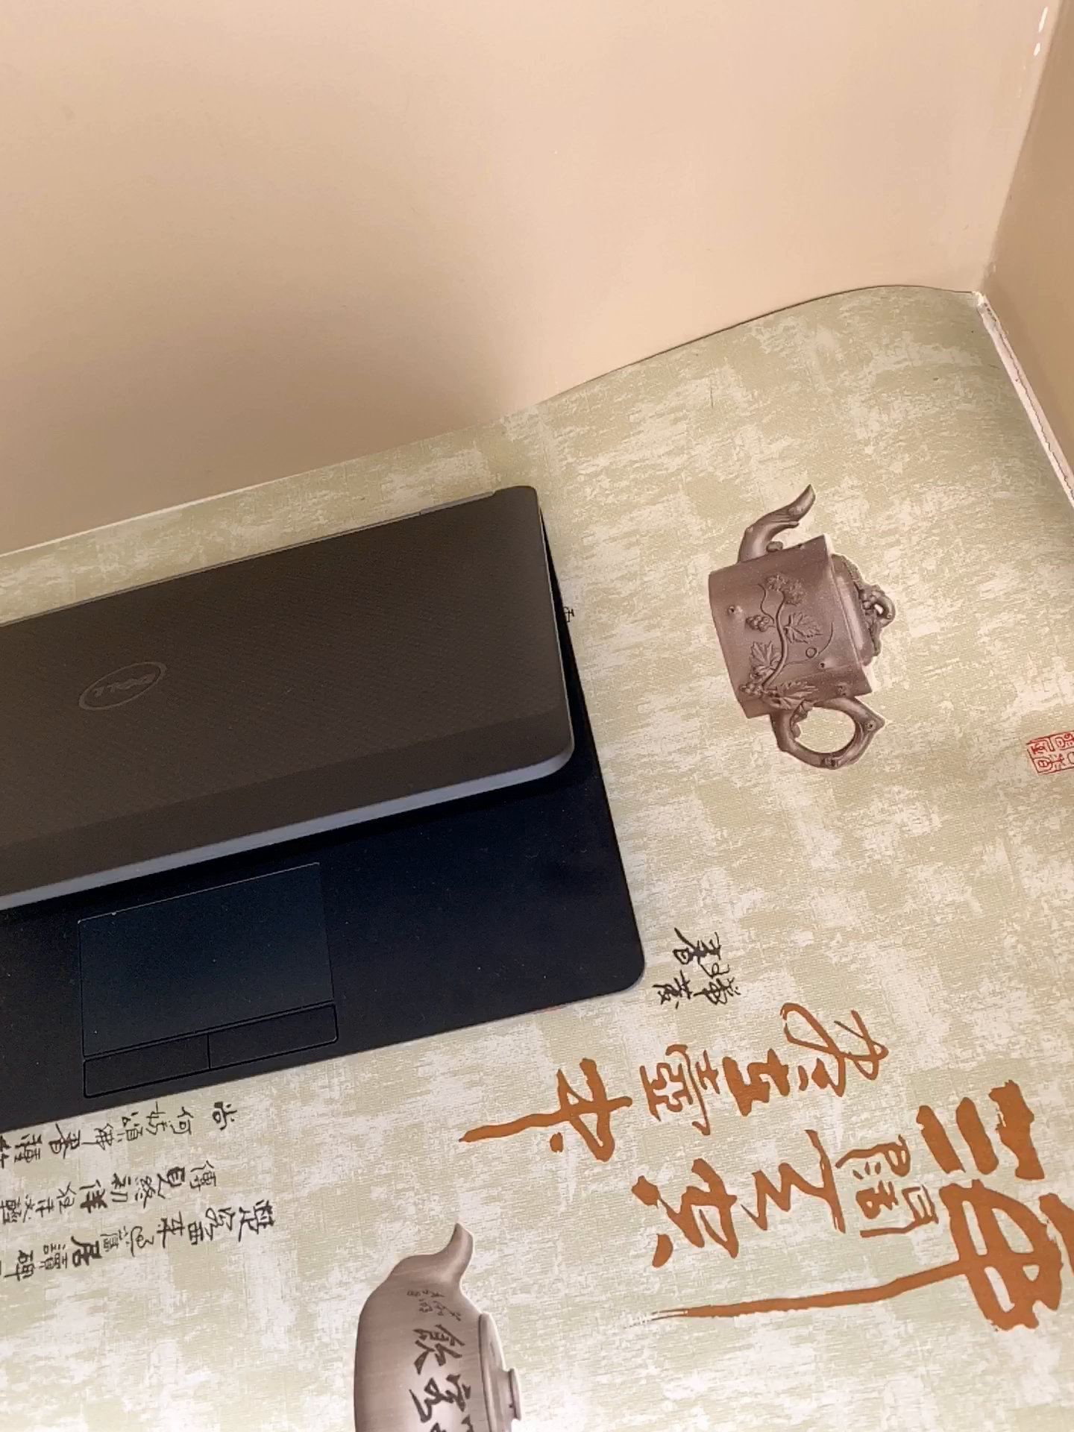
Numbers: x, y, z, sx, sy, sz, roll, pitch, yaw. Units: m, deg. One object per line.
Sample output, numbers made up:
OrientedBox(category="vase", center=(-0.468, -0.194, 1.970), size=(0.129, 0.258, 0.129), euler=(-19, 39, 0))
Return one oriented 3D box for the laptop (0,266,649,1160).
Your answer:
OrientedBox(category="laptop", center=(-0.141, 0.012, 0.386), size=(0.308, 0.136, 0.212), euler=(-14, 66, 6))
